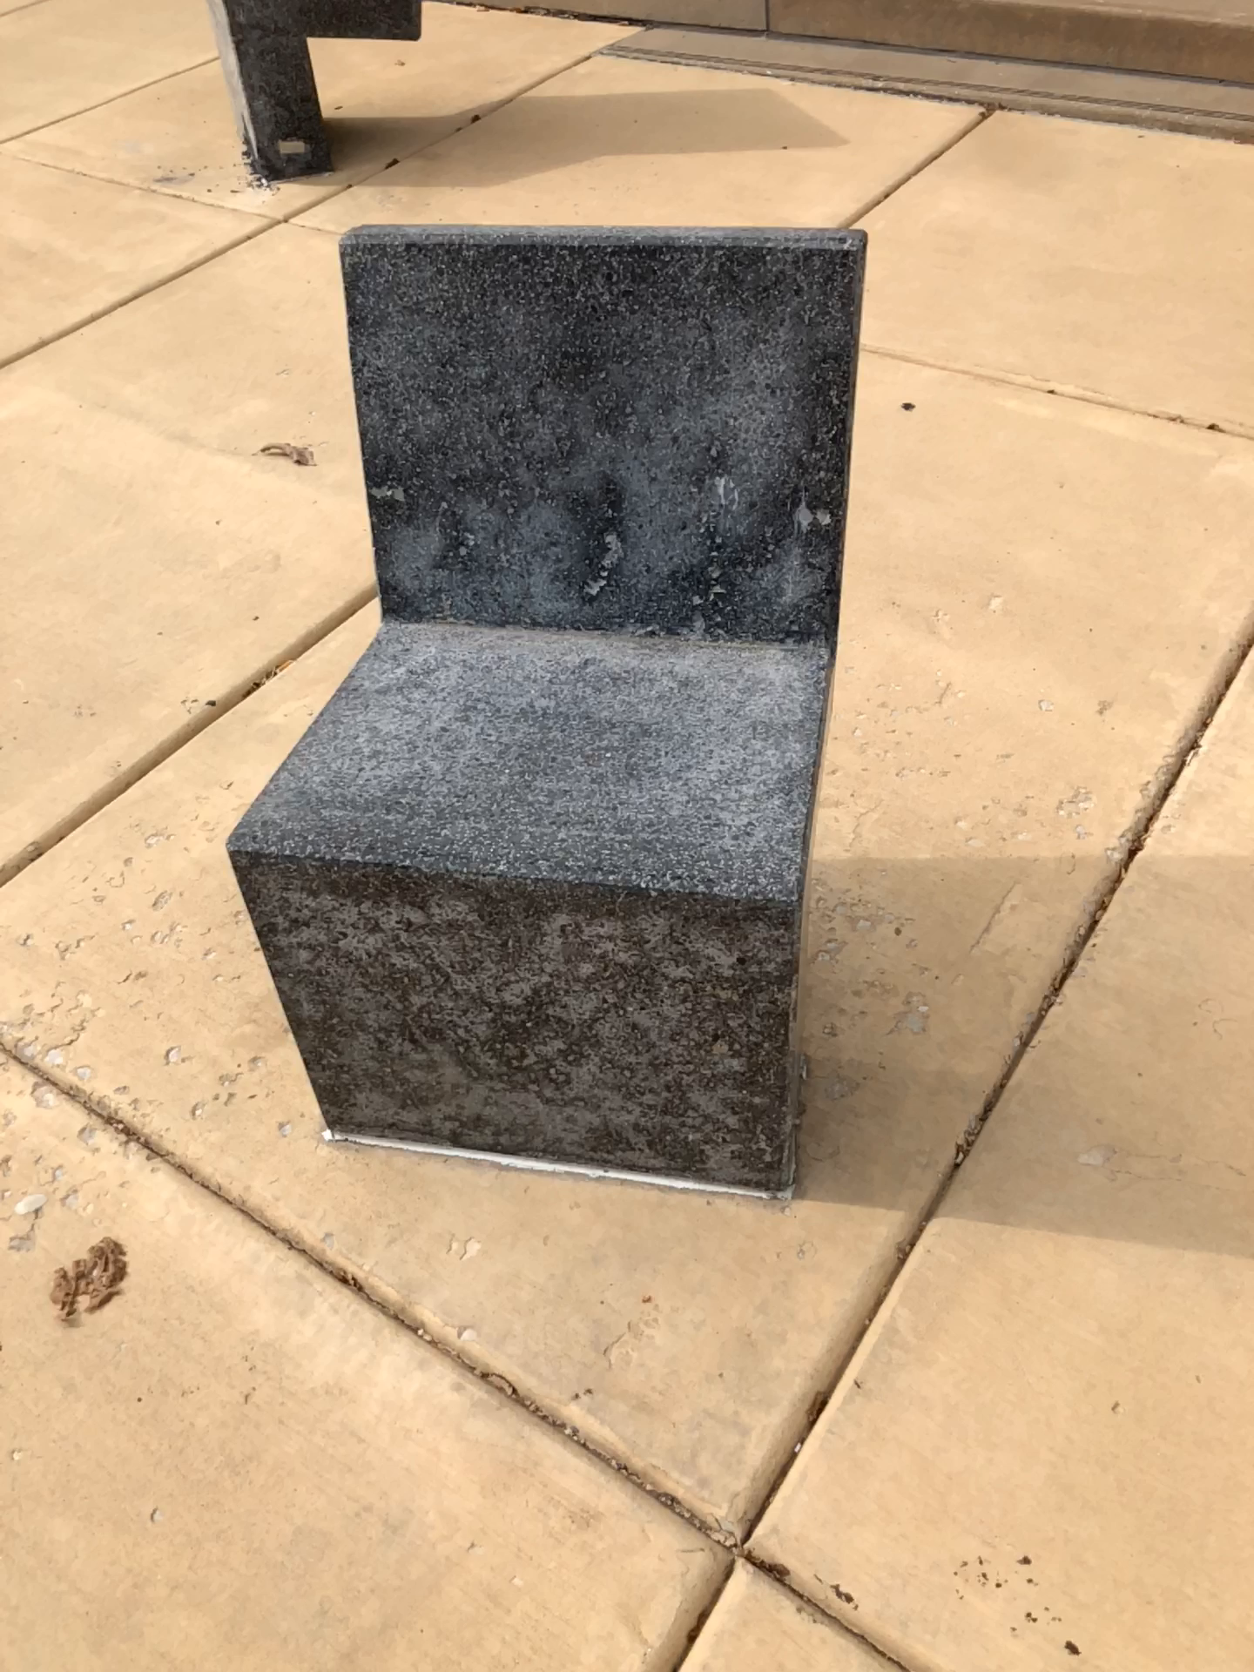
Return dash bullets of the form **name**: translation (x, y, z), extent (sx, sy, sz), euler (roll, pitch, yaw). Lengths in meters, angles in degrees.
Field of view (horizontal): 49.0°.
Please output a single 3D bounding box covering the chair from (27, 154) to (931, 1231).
- **chair**: translation (-0.063, -0.144, 1.305), extent (0.570, 0.798, 0.561), euler (6, 37, 7)
